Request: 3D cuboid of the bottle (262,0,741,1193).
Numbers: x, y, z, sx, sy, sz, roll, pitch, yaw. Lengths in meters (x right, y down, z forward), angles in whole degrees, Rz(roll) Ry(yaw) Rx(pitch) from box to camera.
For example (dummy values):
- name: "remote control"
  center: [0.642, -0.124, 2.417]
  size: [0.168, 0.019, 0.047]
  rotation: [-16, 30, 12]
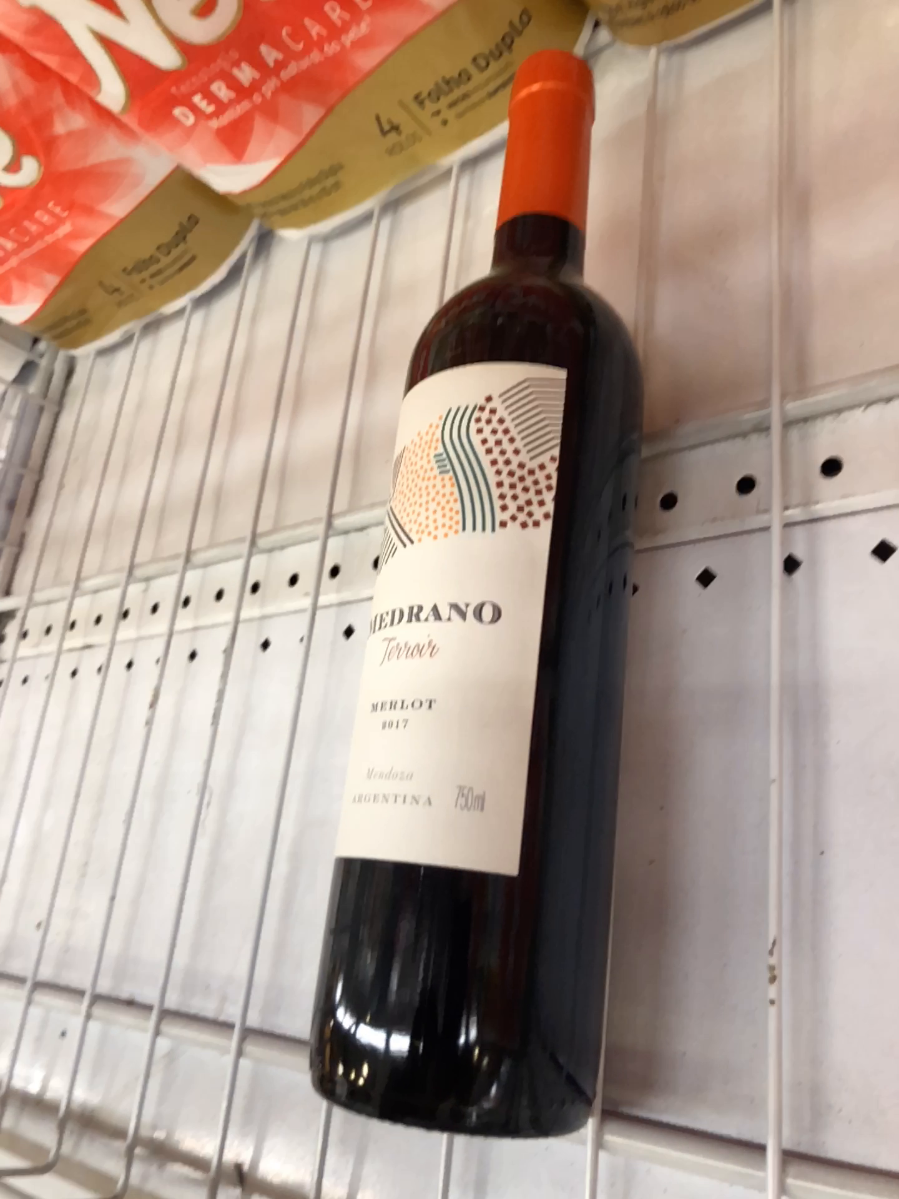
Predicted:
- name: "bottle"
  center: [0.028, -0.022, 0.299]
  size: [0.080, 0.070, 0.330]
  rotation: [-8, 65, 39]
